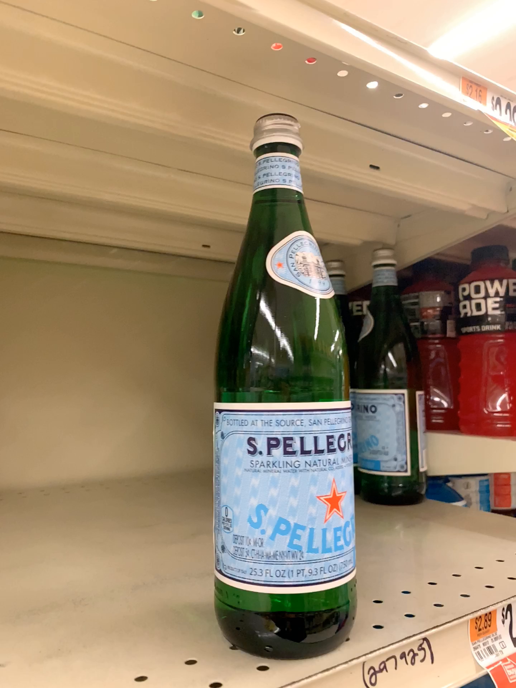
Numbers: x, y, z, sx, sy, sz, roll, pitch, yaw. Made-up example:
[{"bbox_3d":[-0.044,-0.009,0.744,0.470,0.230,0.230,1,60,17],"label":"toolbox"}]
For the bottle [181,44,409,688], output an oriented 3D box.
[{"bbox_3d":[0.018,0.007,0.302,0.090,0.290,0.090,0,-4,0],"label":"bottle"}]
